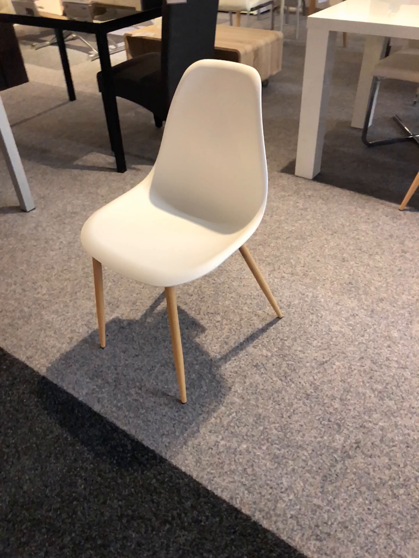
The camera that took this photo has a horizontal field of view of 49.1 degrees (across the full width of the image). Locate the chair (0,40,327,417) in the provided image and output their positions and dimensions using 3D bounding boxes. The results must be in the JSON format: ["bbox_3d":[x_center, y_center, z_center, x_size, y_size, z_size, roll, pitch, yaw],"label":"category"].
[{"bbox_3d":[-0.092,-0.178,1.417,0.570,0.845,0.603,26,47,30],"label":"chair"}]
